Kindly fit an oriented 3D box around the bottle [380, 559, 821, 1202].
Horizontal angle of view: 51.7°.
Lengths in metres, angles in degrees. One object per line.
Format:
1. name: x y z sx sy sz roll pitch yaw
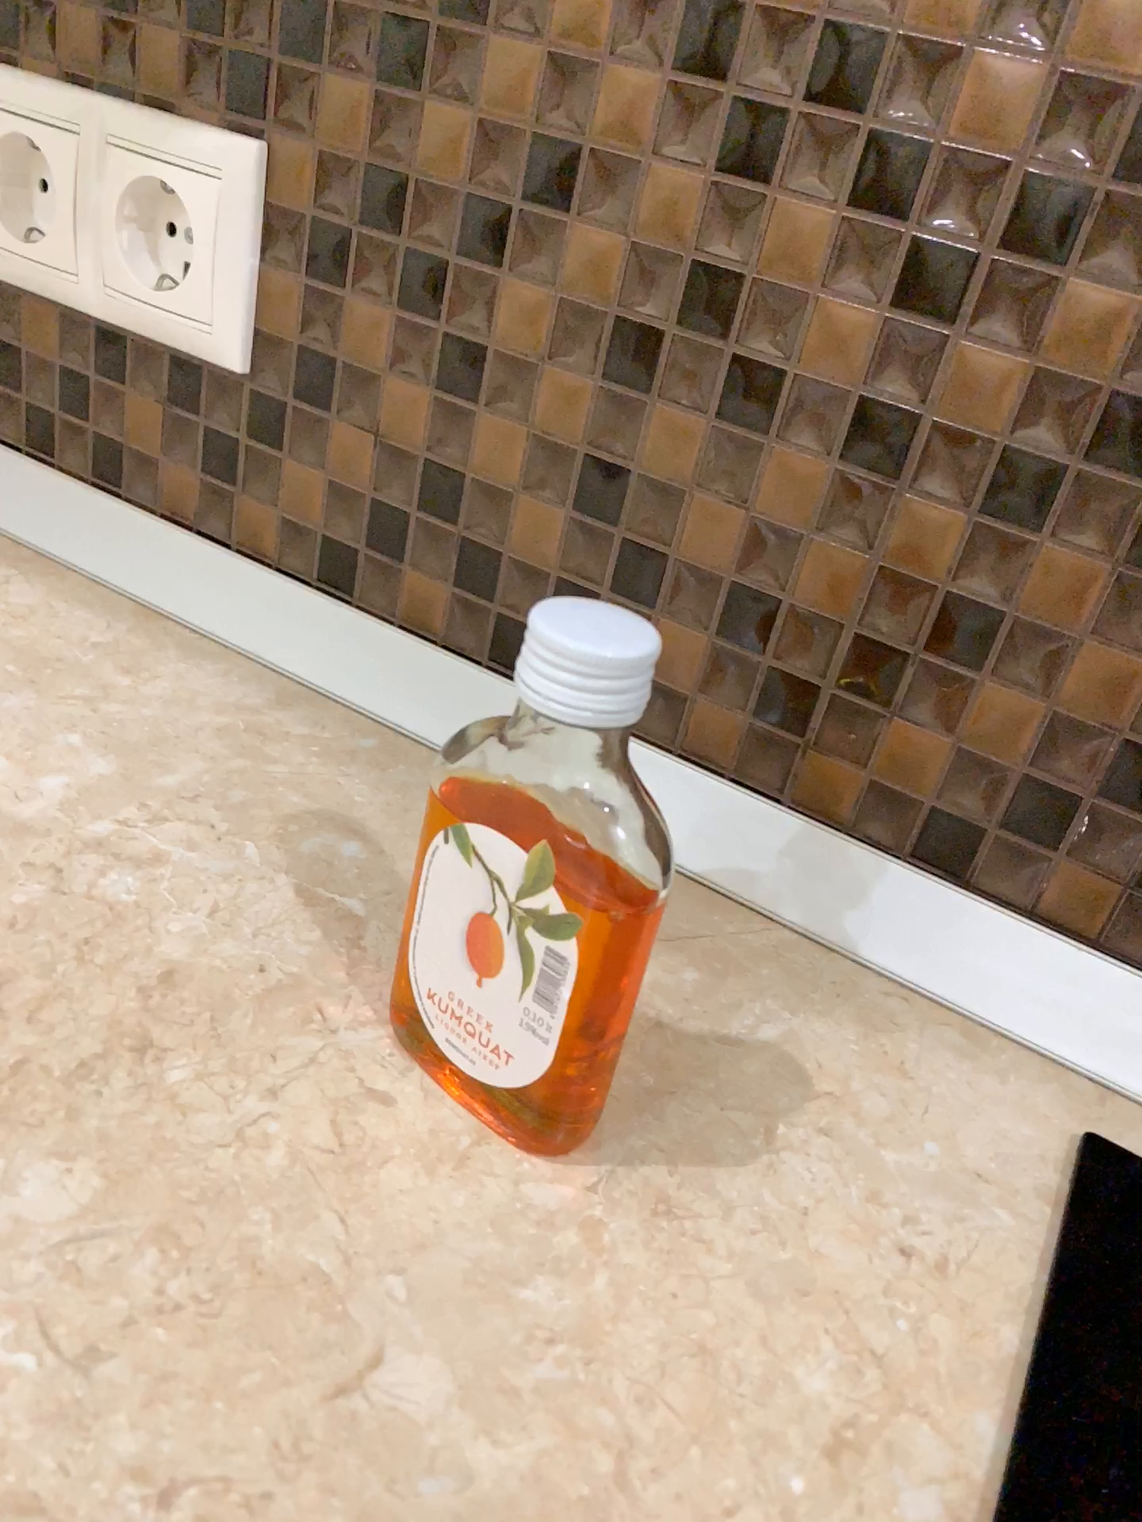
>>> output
1. bottle: 0.001 0.029 0.287 0.070 0.133 0.040 33 33 31
